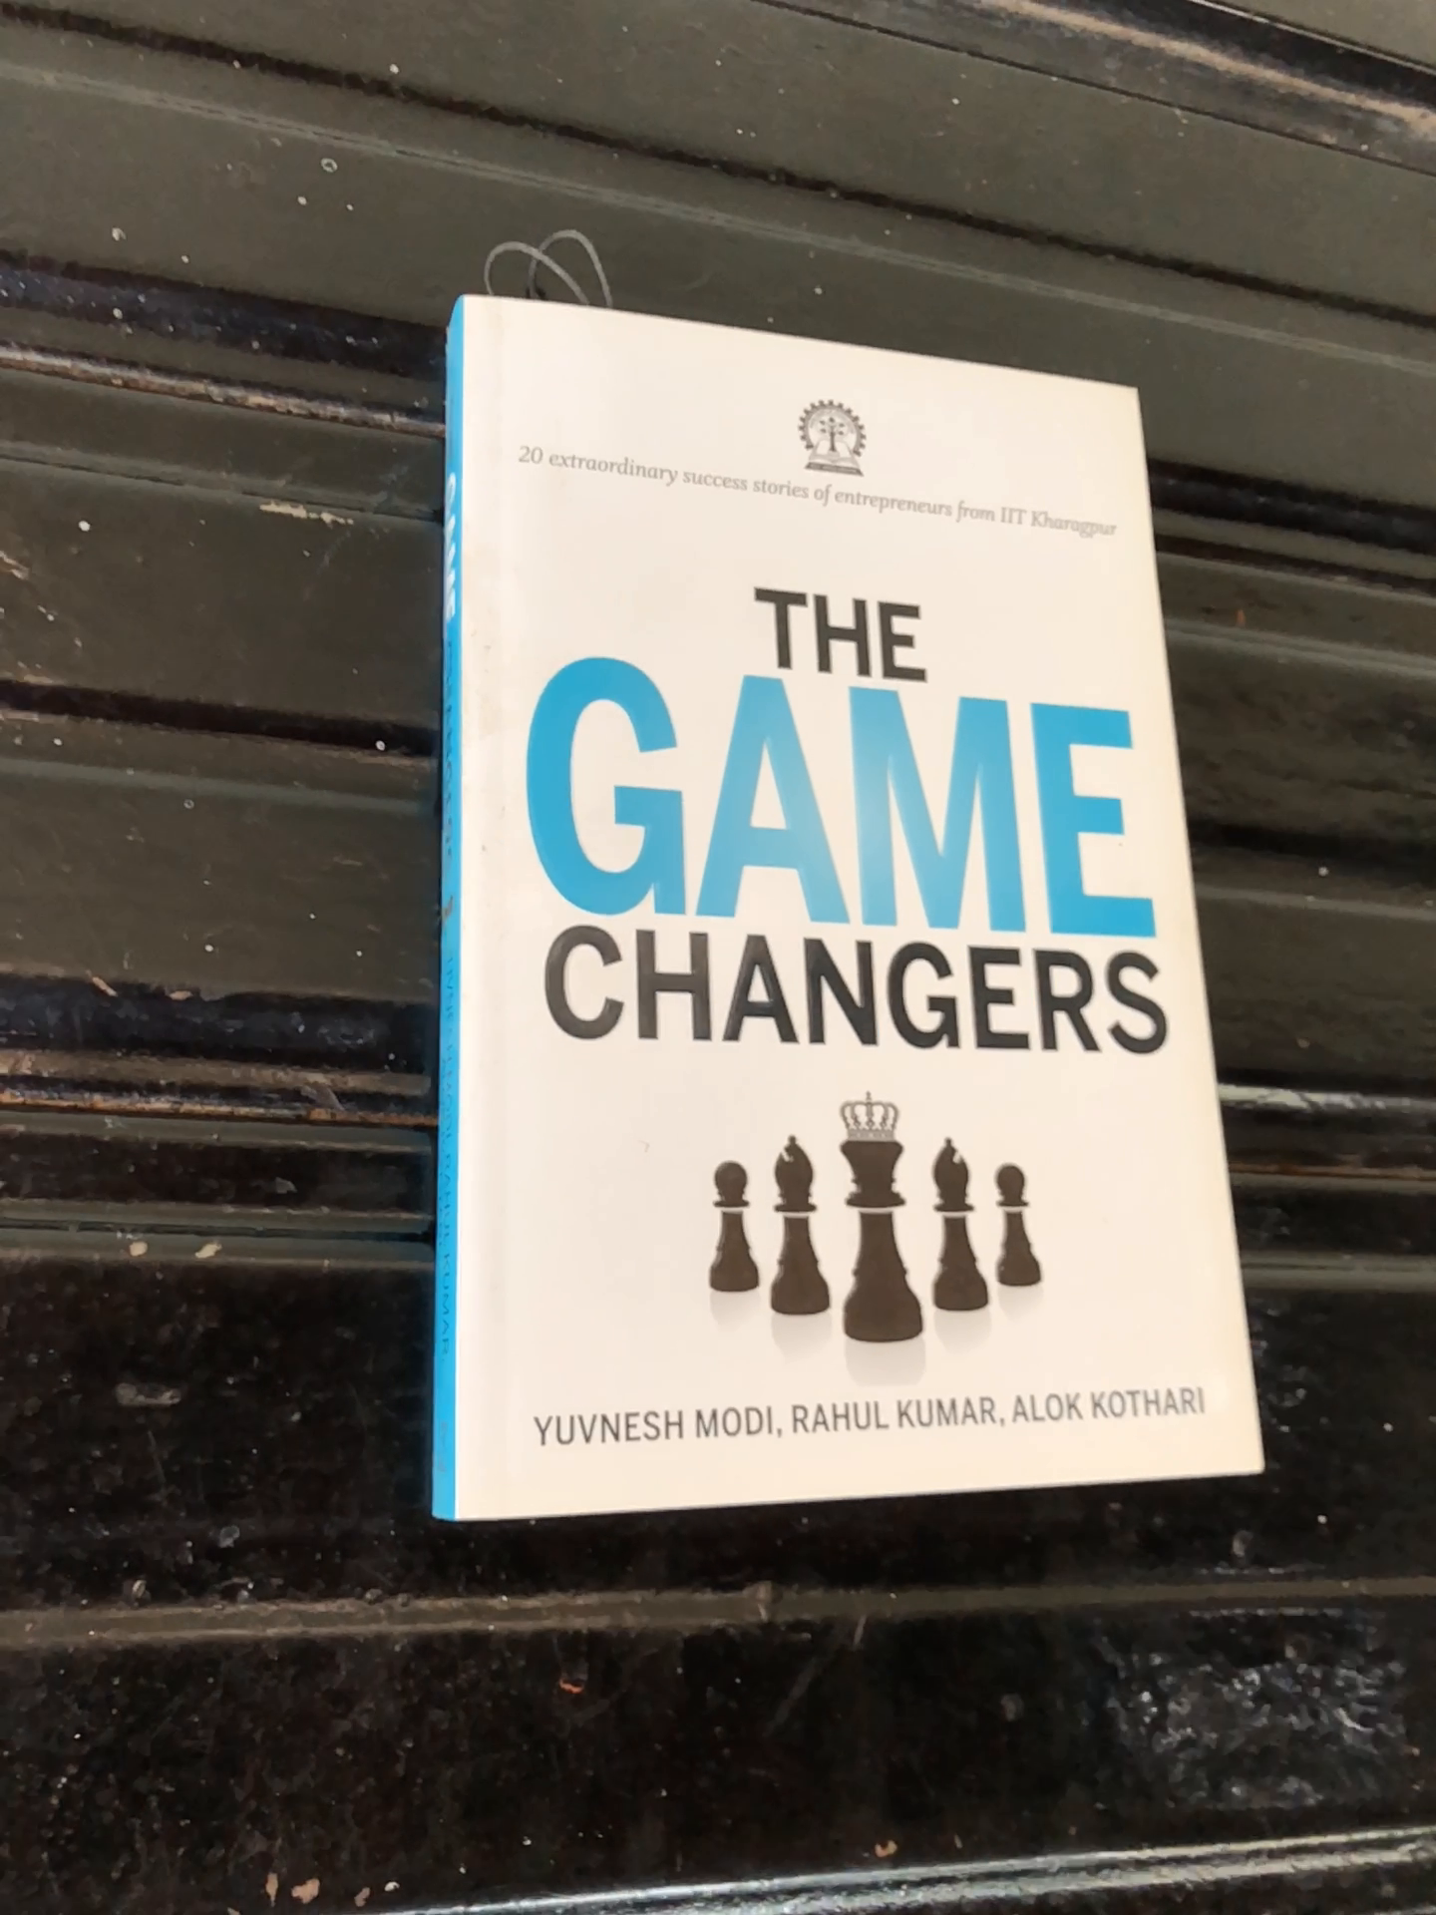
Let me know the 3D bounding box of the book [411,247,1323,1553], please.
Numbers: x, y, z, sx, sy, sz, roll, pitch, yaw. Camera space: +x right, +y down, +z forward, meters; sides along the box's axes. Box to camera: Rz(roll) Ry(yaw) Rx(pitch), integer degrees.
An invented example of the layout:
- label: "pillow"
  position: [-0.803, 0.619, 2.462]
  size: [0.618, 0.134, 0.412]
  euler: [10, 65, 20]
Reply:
- label: "book"
  position: [0.020, -0.011, 0.257]
  size: [0.130, 0.030, 0.190]
  euler: [3, 75, -16]
